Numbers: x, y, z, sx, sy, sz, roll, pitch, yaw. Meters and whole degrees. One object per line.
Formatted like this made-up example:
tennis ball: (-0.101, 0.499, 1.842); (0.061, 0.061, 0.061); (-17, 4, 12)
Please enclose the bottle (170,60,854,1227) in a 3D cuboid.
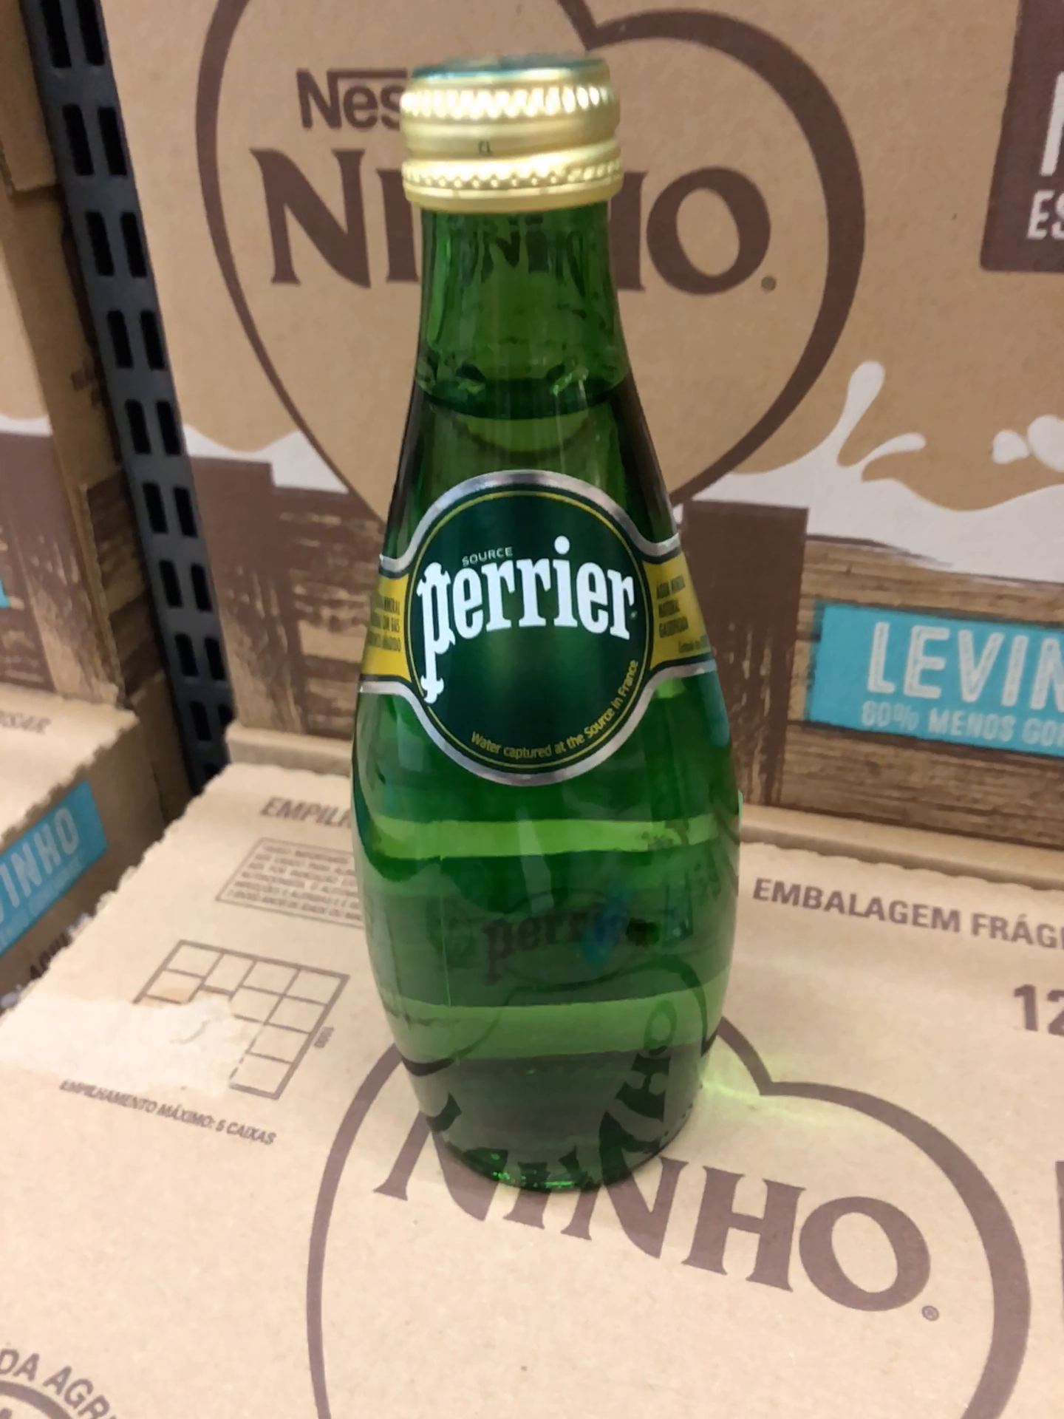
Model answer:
bottle: (0.001, 0.000, 0.194); (0.070, 0.179, 0.060); (-3, 32, -1)
